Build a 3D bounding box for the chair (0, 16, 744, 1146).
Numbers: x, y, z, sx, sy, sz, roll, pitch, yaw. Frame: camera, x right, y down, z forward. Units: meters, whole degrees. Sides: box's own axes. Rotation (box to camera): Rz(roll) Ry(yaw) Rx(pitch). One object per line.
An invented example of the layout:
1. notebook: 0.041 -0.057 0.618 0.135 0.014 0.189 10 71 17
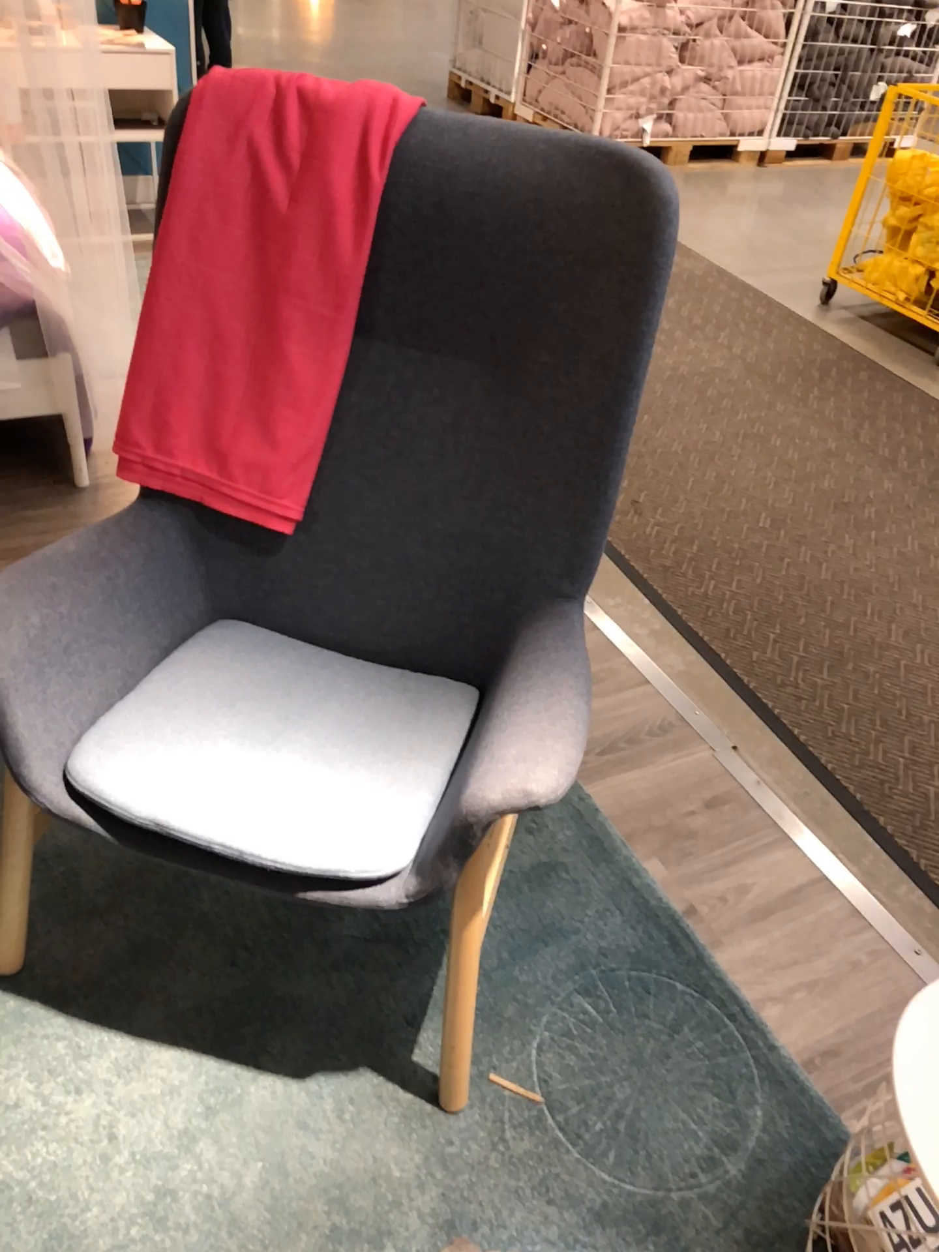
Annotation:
1. chair: -0.207 -0.066 1.245 0.790 0.996 0.703 13 38 7
